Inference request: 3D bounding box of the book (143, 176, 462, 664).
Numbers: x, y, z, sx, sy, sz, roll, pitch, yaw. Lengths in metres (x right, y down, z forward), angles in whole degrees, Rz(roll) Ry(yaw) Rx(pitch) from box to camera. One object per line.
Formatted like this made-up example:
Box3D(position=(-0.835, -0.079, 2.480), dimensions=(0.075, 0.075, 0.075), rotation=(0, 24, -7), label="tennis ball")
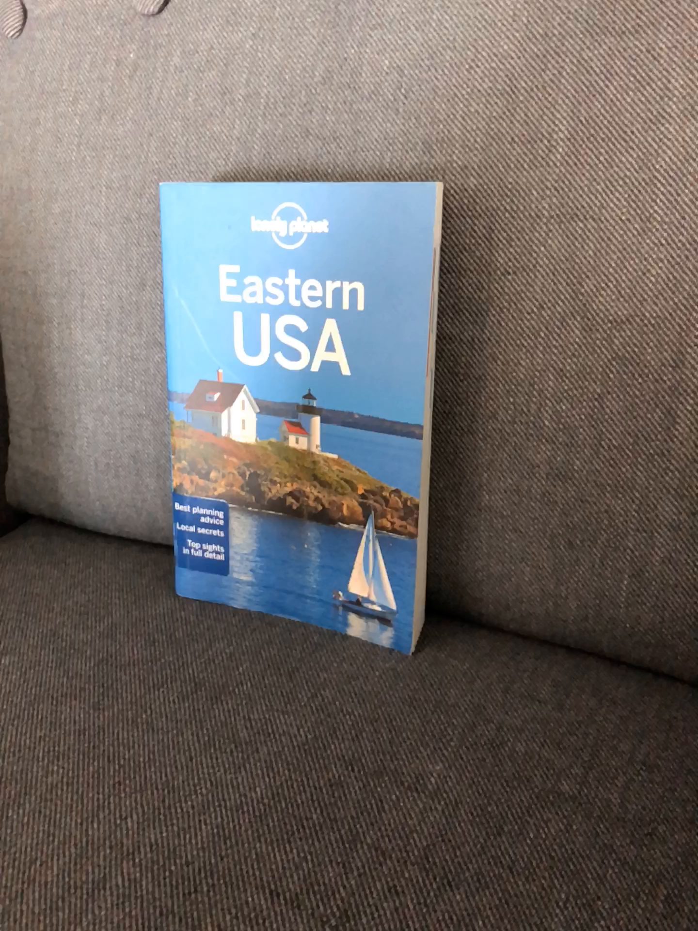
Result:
Box3D(position=(-0.025, -0.025, 0.358), dimensions=(0.135, 0.200, 0.039), rotation=(10, 18, 27), label="book")
